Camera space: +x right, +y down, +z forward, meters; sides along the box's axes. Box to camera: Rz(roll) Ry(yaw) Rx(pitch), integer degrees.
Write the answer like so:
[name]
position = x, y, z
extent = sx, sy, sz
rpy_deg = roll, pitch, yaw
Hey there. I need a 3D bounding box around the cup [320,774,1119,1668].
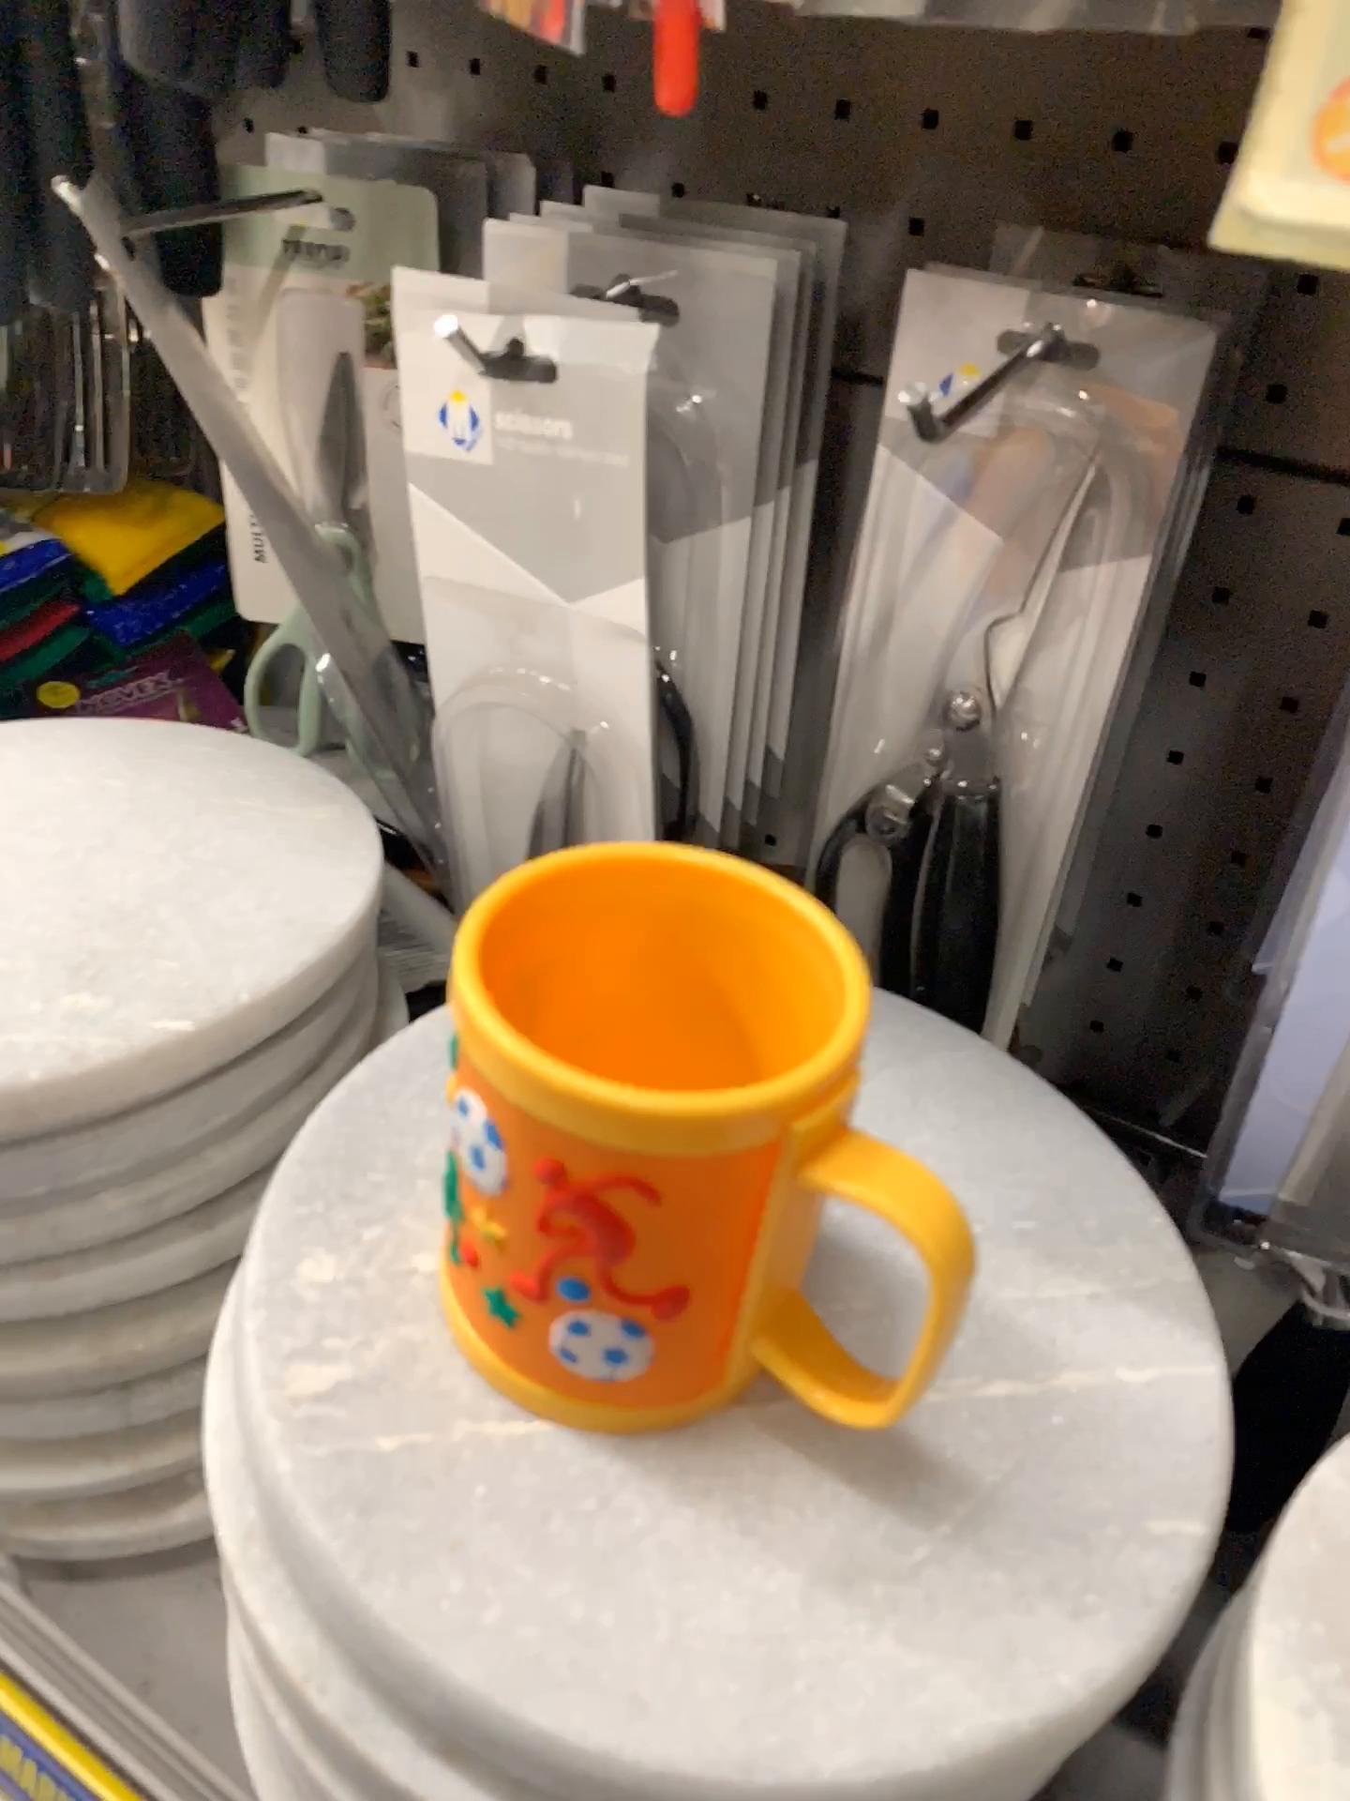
[cup]
position = 0.005, 0.052, 0.259
extent = 0.110, 0.100, 0.080
rpy_deg = 25, 39, 29
